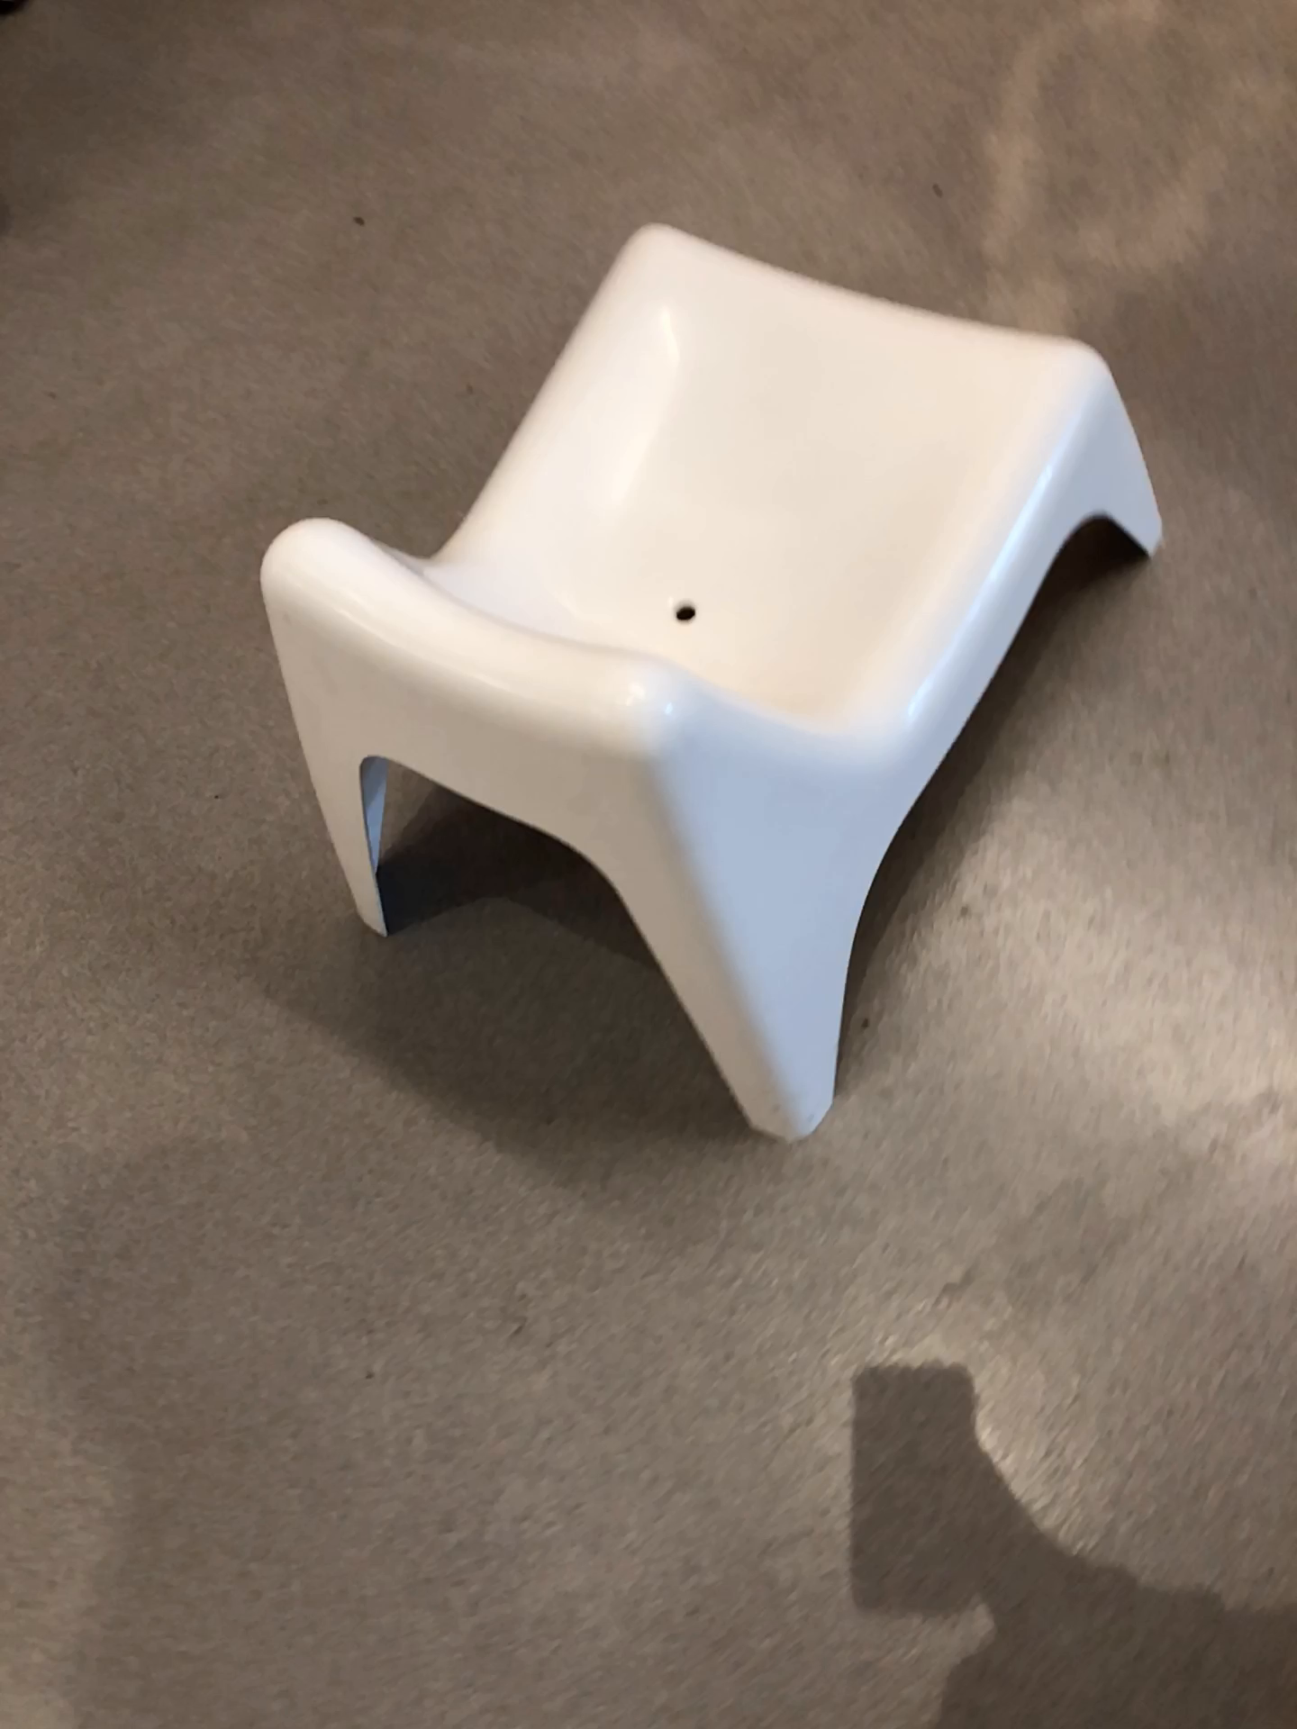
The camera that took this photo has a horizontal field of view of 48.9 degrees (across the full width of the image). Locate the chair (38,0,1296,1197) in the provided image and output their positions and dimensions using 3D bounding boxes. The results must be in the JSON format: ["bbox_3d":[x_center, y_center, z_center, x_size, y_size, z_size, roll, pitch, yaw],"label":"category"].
[{"bbox_3d":[0.064,-0.223,1.020,0.531,0.400,0.690,22,75,19],"label":"chair"}]
